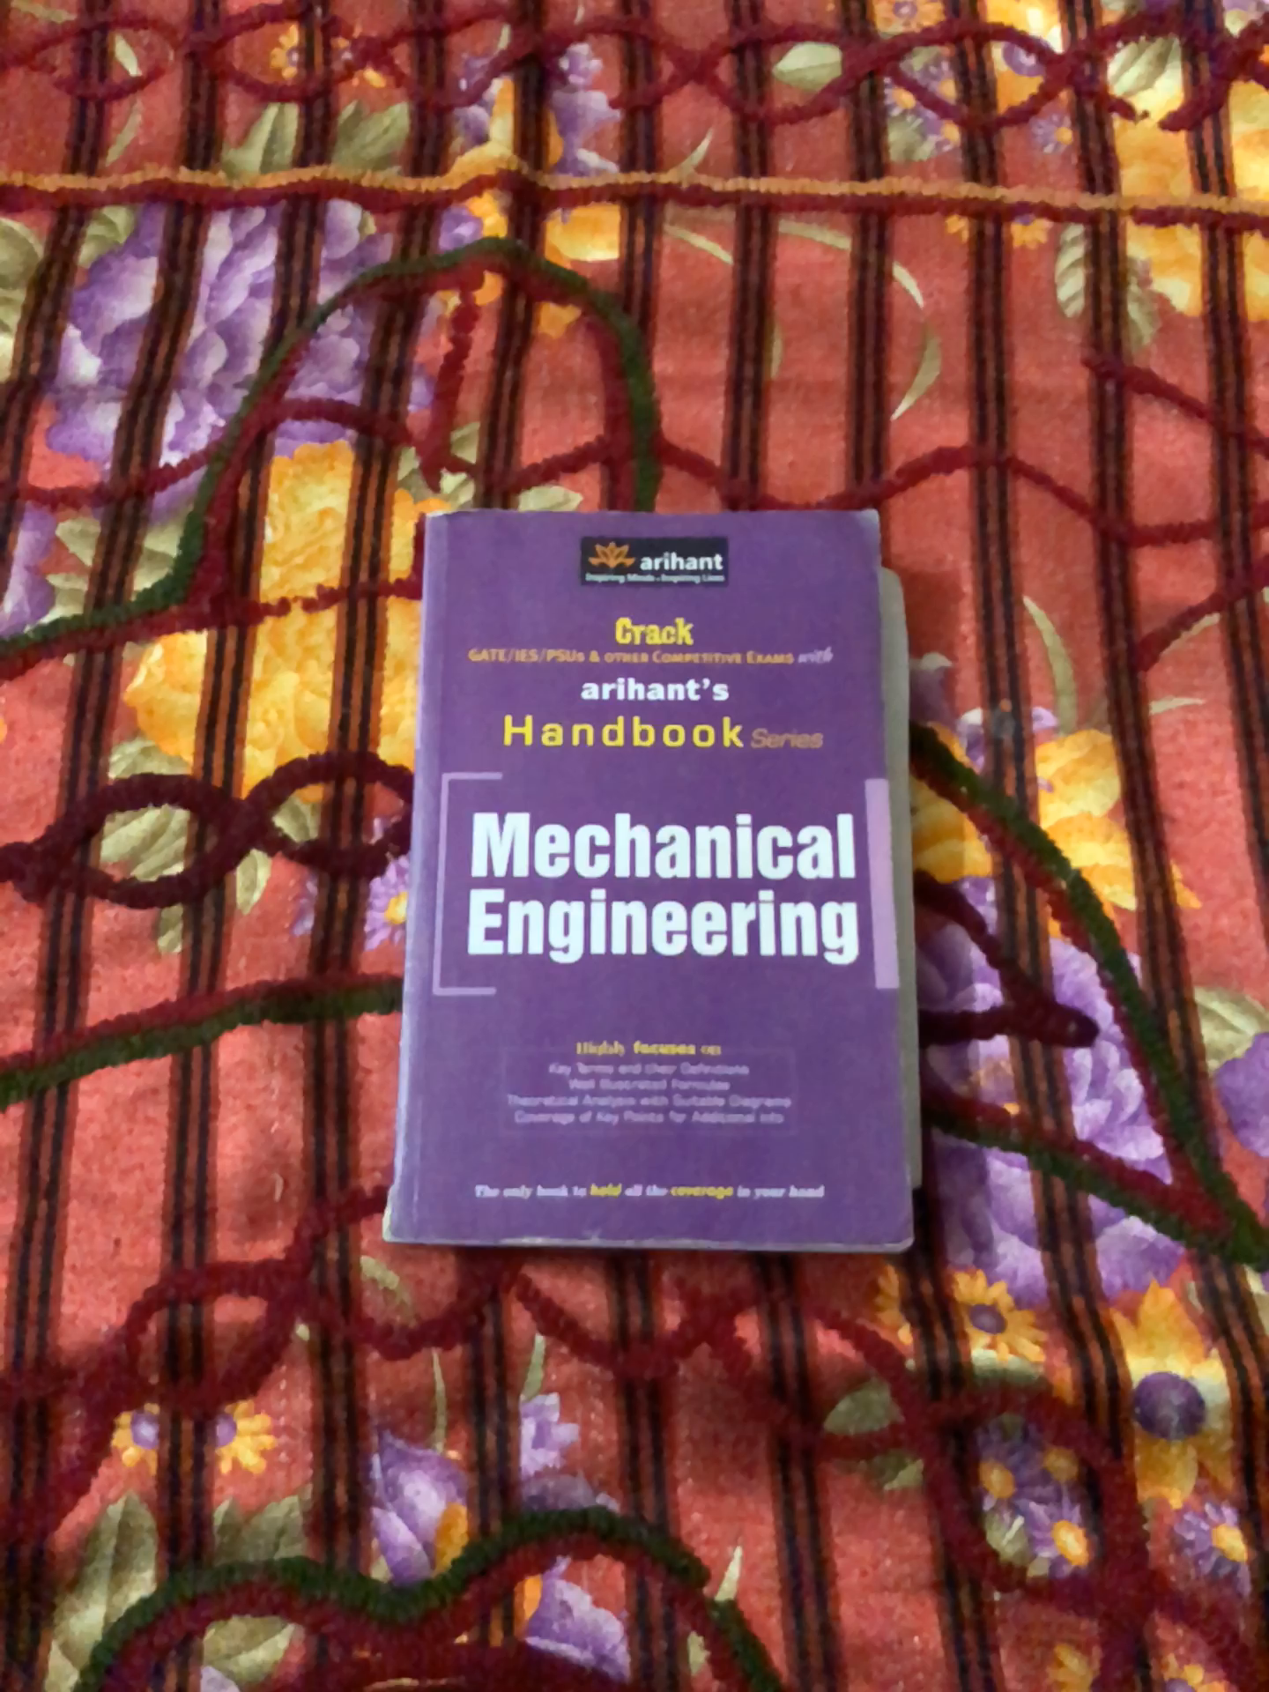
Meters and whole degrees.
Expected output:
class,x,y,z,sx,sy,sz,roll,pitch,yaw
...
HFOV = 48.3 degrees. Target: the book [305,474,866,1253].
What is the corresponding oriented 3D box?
class,x,y,z,sx,sy,sz,roll,pitch,yaw
book,-0.014,0.001,0.425,0.147,0.040,0.231,0,72,-1
